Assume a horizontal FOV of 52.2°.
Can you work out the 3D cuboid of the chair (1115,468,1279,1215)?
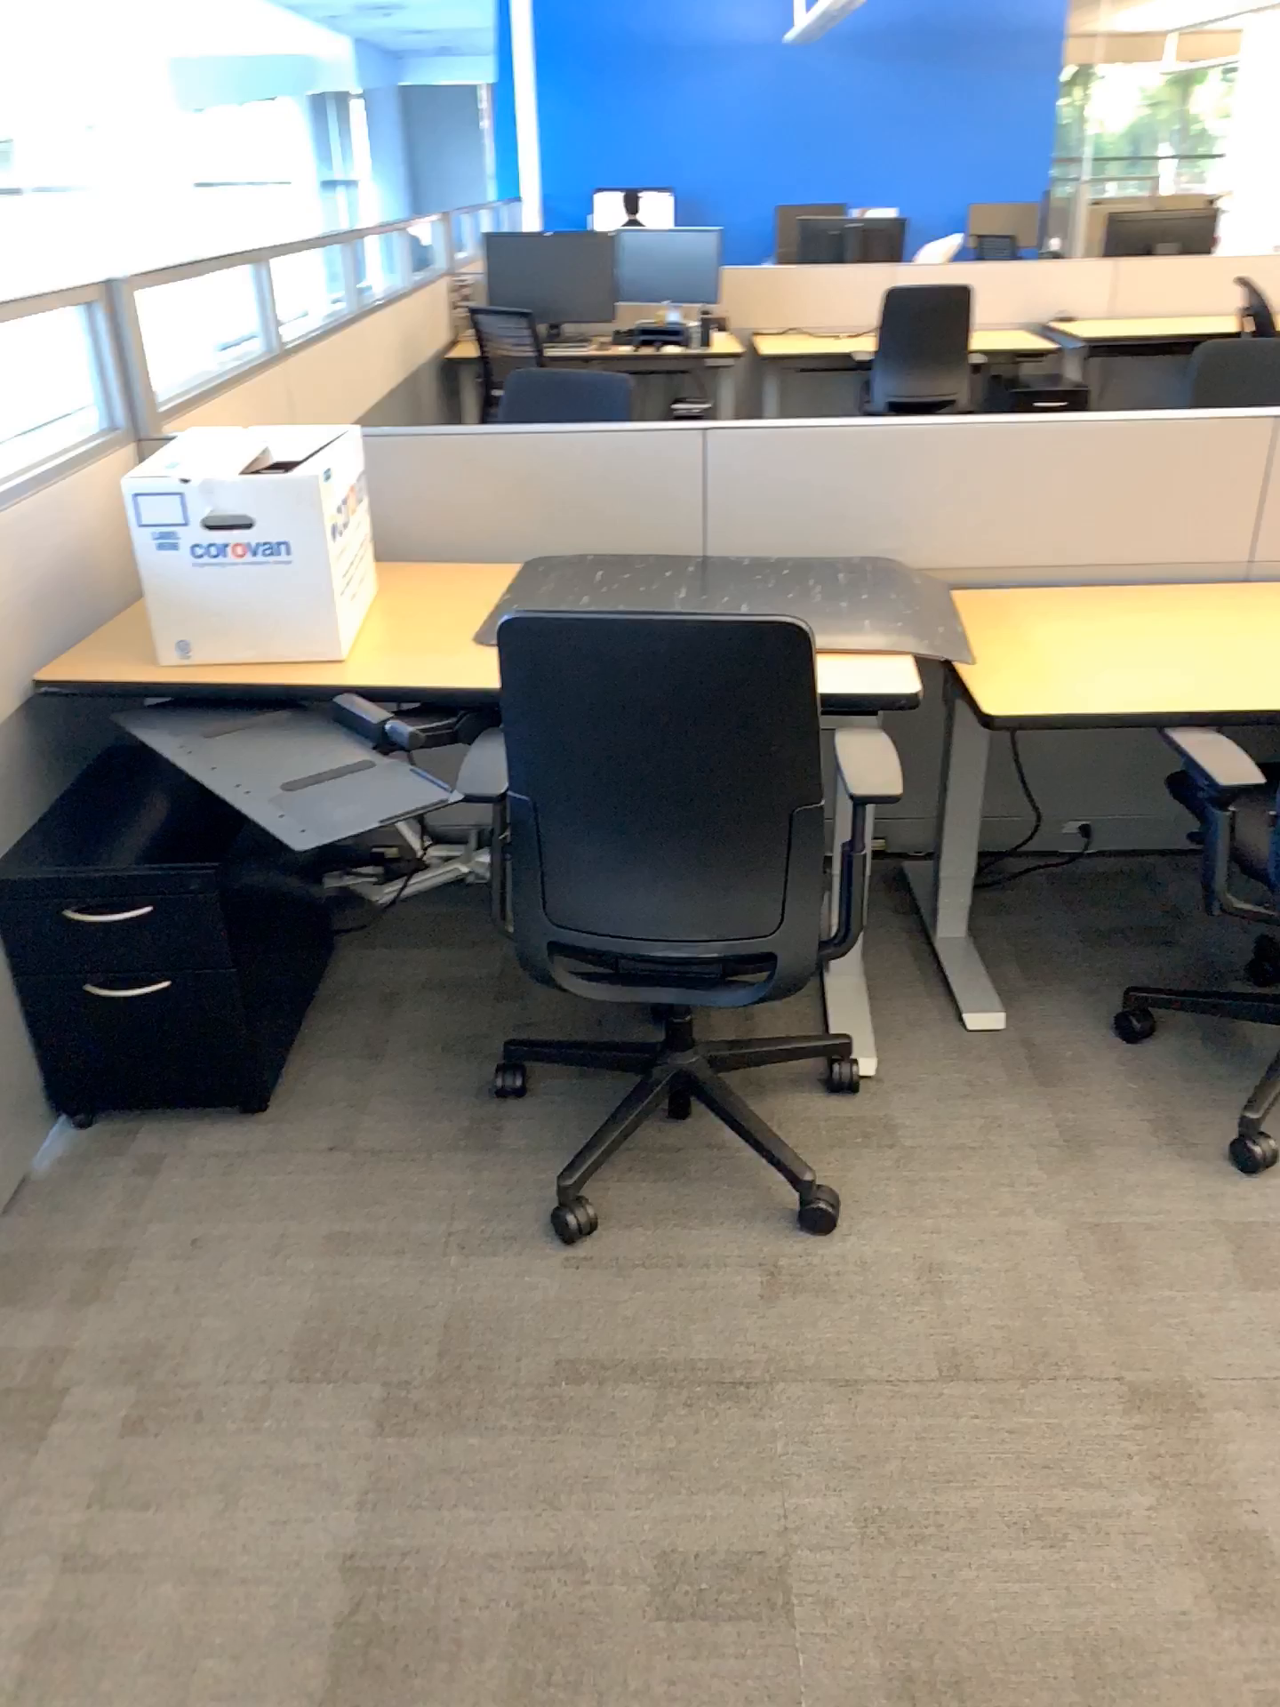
[{"bbox_3d":[1.171,-0.026,2.037,0.520,0.994,0.584,-1,27,0],"label":"chair"}]

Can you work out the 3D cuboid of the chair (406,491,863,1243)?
[{"bbox_3d":[0.038,0.000,2.077,0.560,0.994,0.603,3,28,8],"label":"chair"}]
